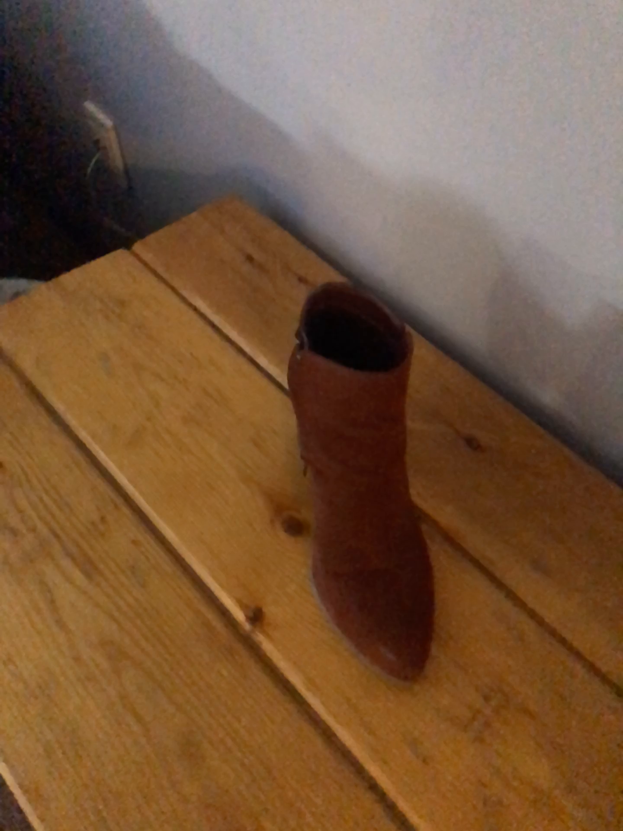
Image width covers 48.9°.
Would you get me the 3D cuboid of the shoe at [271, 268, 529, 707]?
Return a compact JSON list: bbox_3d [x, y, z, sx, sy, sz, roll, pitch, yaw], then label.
[{"bbox_3d":[0.038,0.043,0.473,0.090,0.150,0.250,-8,54,-9],"label":"shoe"}]
